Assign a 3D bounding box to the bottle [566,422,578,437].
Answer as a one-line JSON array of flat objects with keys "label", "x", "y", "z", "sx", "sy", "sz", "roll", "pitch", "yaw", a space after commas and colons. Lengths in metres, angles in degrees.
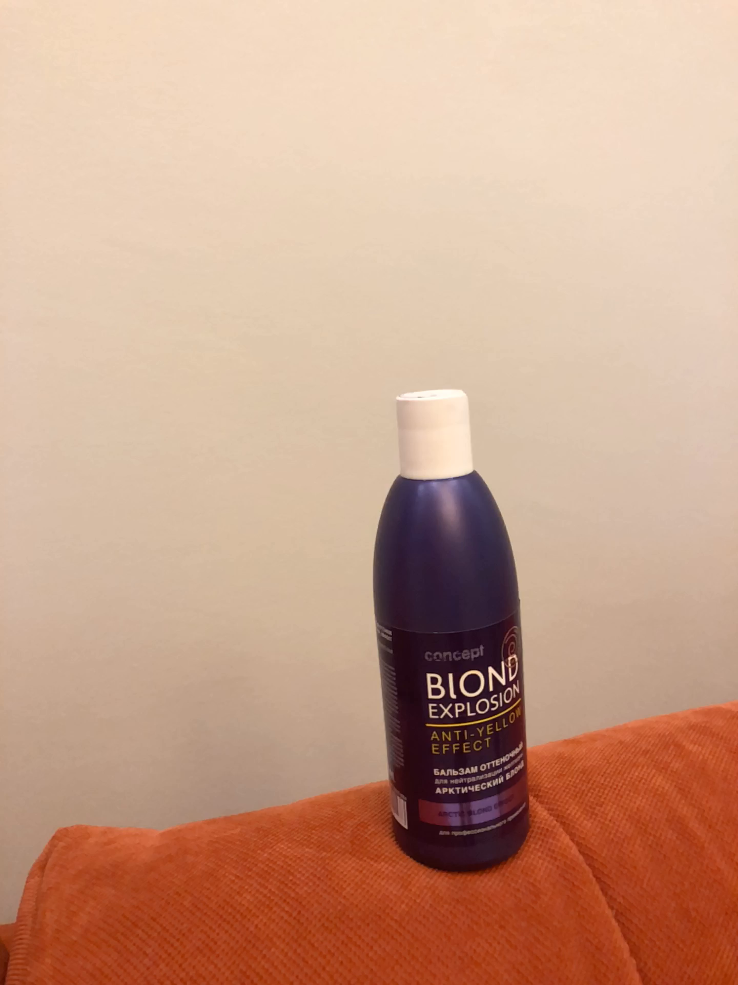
[{"label": "bottle", "x": 1.448, "y": -0.450, "z": 5.794, "sx": 0.055, "sy": 0.092, "sz": 0.055, "roll": 0, "pitch": 14, "yaw": 0}]
